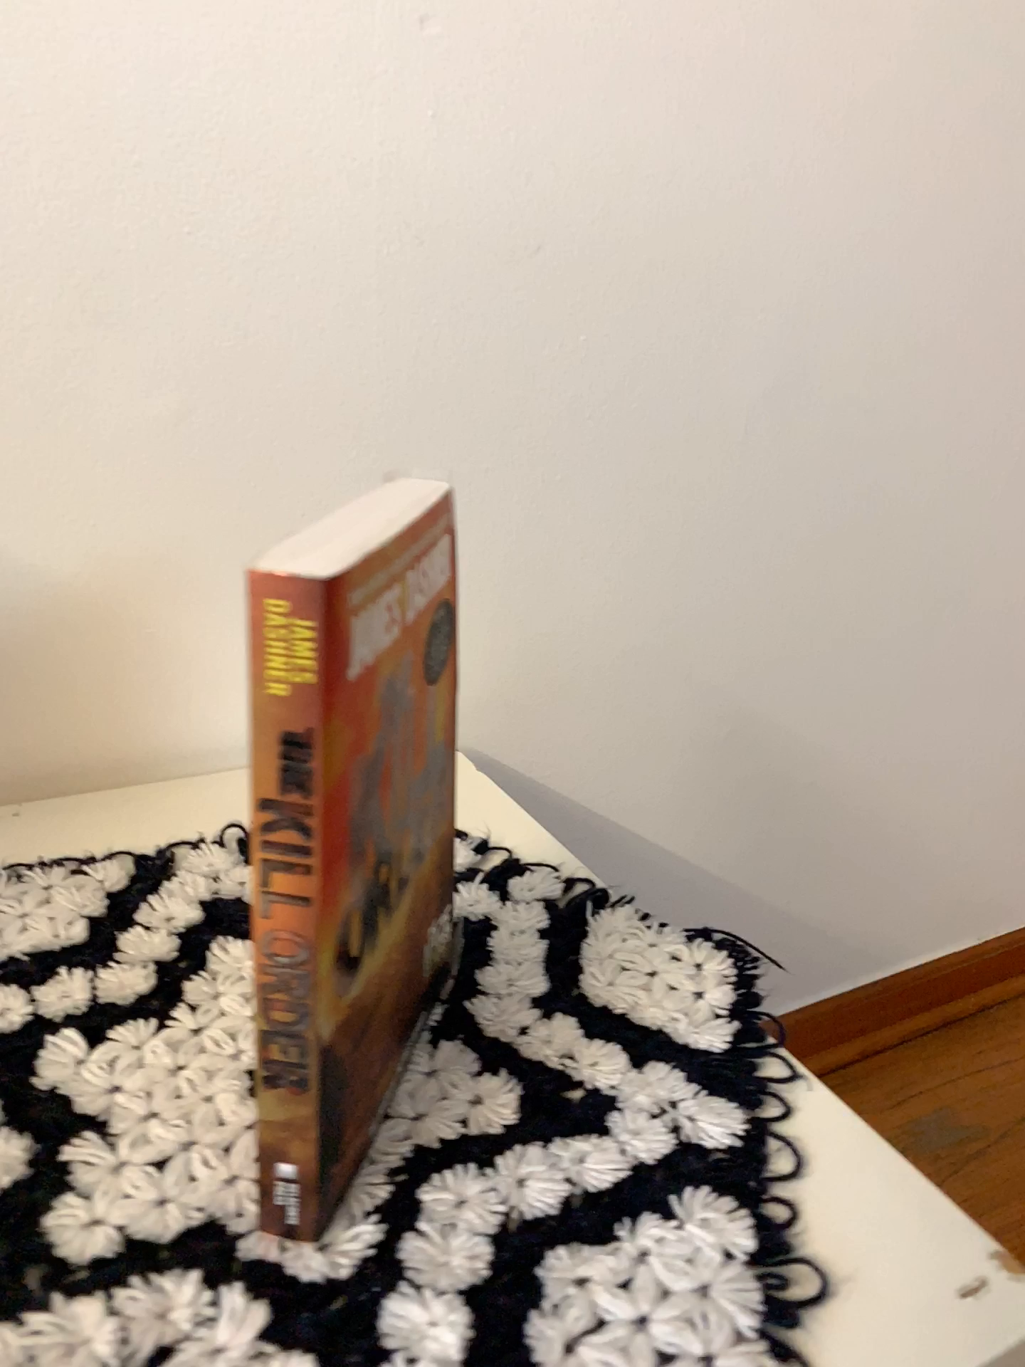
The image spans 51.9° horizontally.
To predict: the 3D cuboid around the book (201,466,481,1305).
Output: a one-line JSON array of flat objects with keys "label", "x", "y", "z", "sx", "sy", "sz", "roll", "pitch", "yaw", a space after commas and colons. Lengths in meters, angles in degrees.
[{"label": "book", "x": -0.046, "y": 0.050, "z": 0.349, "sx": 0.030, "sy": 0.219, "sz": 0.161, "roll": 6, "pitch": 19, "yaw": 10}]
